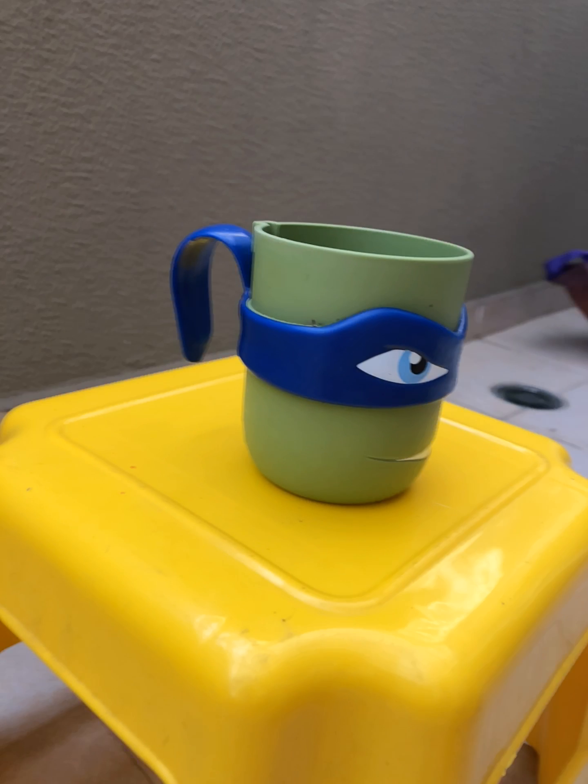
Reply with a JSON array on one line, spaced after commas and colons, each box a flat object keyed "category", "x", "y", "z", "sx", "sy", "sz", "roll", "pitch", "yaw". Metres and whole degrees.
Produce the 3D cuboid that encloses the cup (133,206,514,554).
[{"category": "cup", "x": 0.010, "y": -0.016, "z": 0.248, "sx": 0.110, "sy": 0.089, "sz": 0.080, "roll": 16, "pitch": 23, "yaw": 25}]
